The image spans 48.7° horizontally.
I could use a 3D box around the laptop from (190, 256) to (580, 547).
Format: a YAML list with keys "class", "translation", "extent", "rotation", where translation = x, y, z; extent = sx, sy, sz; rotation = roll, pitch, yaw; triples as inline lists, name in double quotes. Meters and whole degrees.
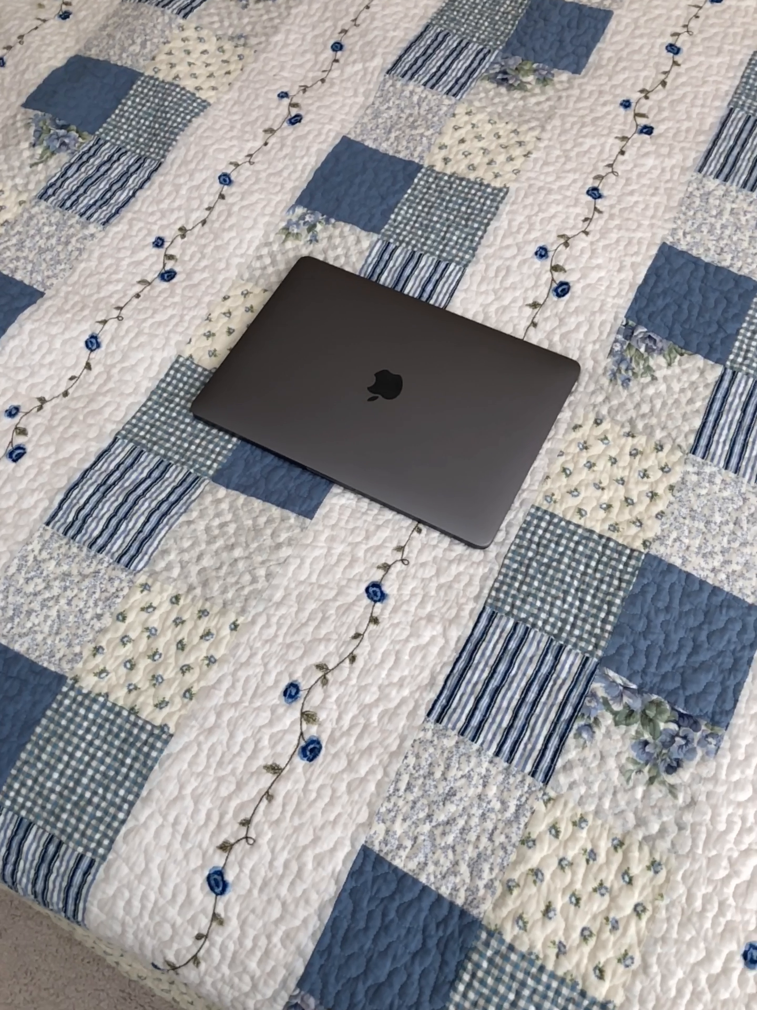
- class: "laptop"
  translation: [0.007, -0.106, 0.753]
  extent: [0.290, 0.005, 0.202]
  rotation: [25, 66, 14]
